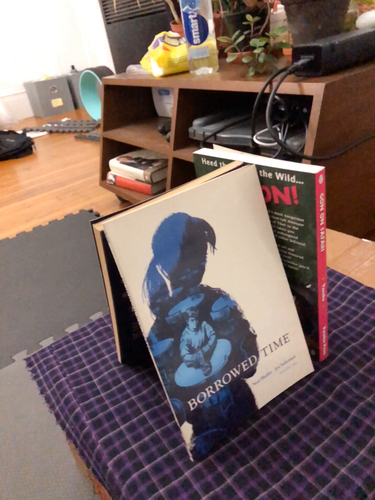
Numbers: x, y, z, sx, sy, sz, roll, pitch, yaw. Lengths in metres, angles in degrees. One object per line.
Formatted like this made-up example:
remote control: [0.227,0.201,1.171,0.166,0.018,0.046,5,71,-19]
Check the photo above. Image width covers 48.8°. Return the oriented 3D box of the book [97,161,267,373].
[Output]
book: [-0.002,0.026,0.388,0.150,0.199,0.010,-25,53,-24]

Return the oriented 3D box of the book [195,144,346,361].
book: [0.080,0.001,0.394,0.020,0.189,0.141,-33,36,-25]

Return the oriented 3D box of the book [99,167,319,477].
book: [0.030,0.051,0.327,0.140,0.199,0.010,-25,13,-28]
